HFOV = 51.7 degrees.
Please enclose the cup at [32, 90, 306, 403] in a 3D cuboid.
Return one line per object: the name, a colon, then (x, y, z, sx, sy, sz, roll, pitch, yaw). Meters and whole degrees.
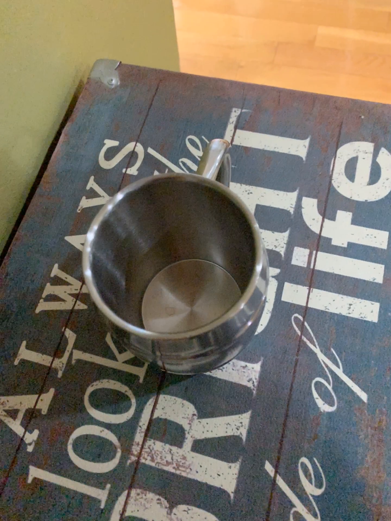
cup: (-0.002, 0.002, 0.229, 0.088, 0.114, 0.129, 12, 71, 9)
